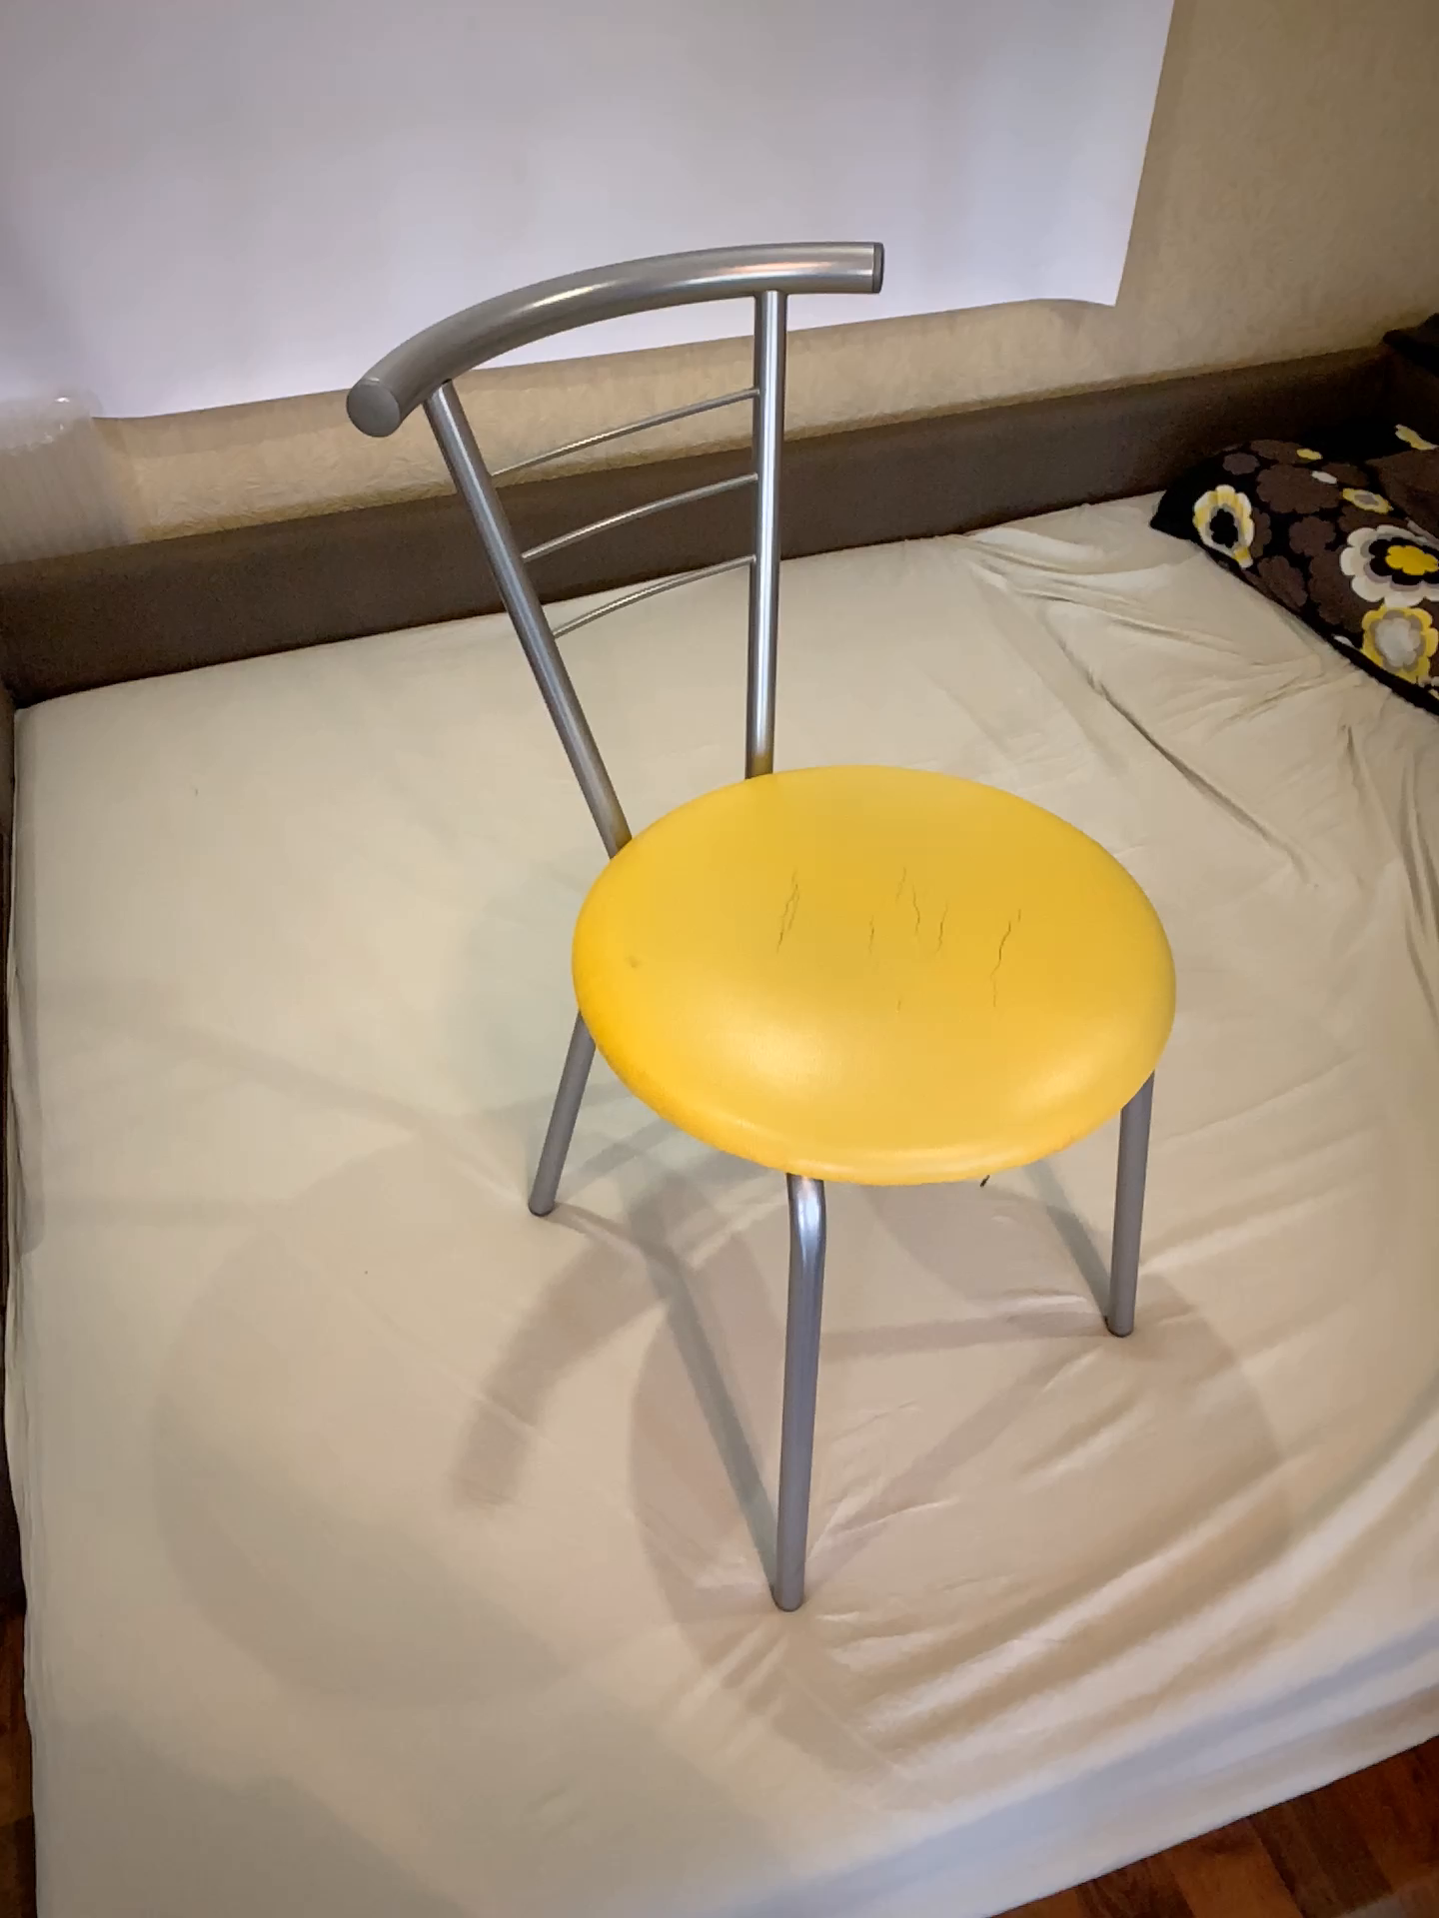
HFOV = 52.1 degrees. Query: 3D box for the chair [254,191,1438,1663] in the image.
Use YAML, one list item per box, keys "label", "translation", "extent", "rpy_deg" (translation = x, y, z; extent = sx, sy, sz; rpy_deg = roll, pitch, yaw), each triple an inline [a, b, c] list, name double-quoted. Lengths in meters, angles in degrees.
- label: "chair"
  translation: [0.080, -0.013, 1.024]
  extent: [0.462, 0.763, 0.503]
  rpy_deg: [-28, 51, -26]
